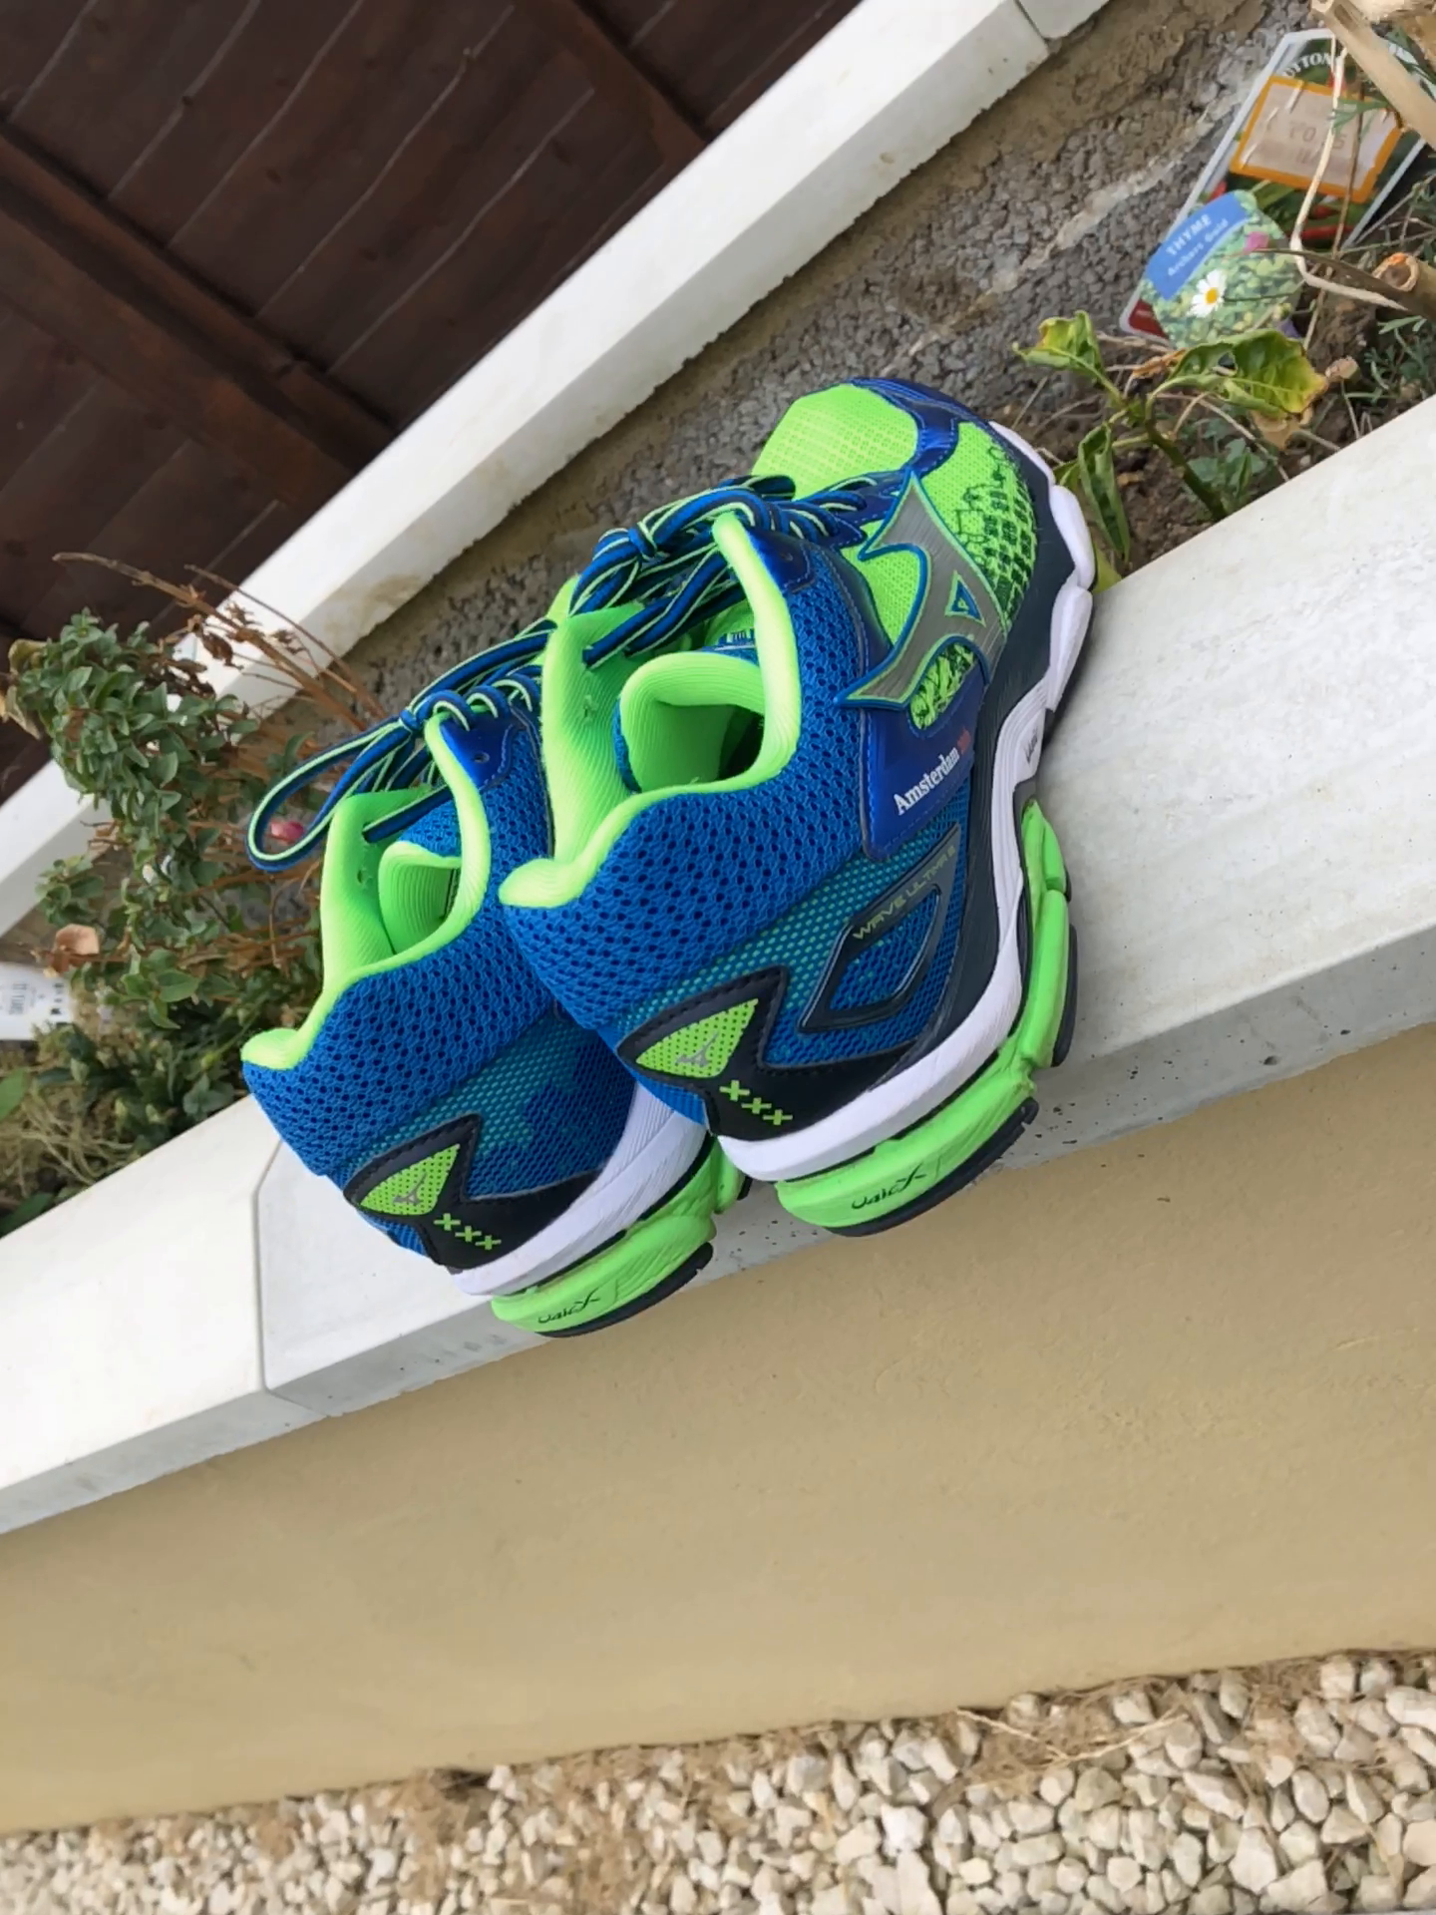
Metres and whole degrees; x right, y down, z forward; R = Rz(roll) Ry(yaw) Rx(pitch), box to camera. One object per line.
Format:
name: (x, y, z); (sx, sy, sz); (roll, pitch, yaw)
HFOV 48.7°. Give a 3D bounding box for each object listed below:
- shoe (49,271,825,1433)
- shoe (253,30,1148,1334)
shoe: (-0.063, -0.043, 0.434); (0.110, 0.119, 0.291); (-34, 38, 30)
shoe: (0.012, -0.080, 0.381); (0.110, 0.119, 0.291); (-29, 37, 35)
